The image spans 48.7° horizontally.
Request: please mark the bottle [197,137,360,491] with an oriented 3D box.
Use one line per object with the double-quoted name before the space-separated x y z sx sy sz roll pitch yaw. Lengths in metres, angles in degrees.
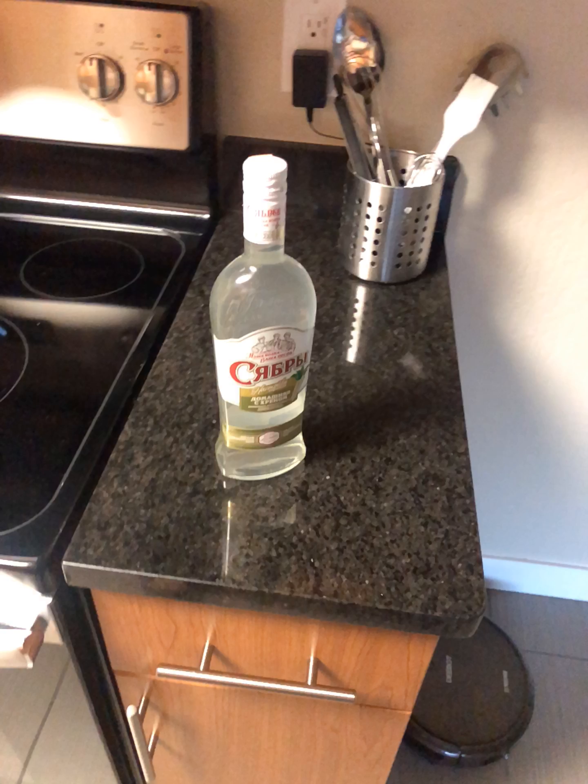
"bottle" -0.018 -0.044 0.488 0.090 0.269 0.060 -6 41 -12
